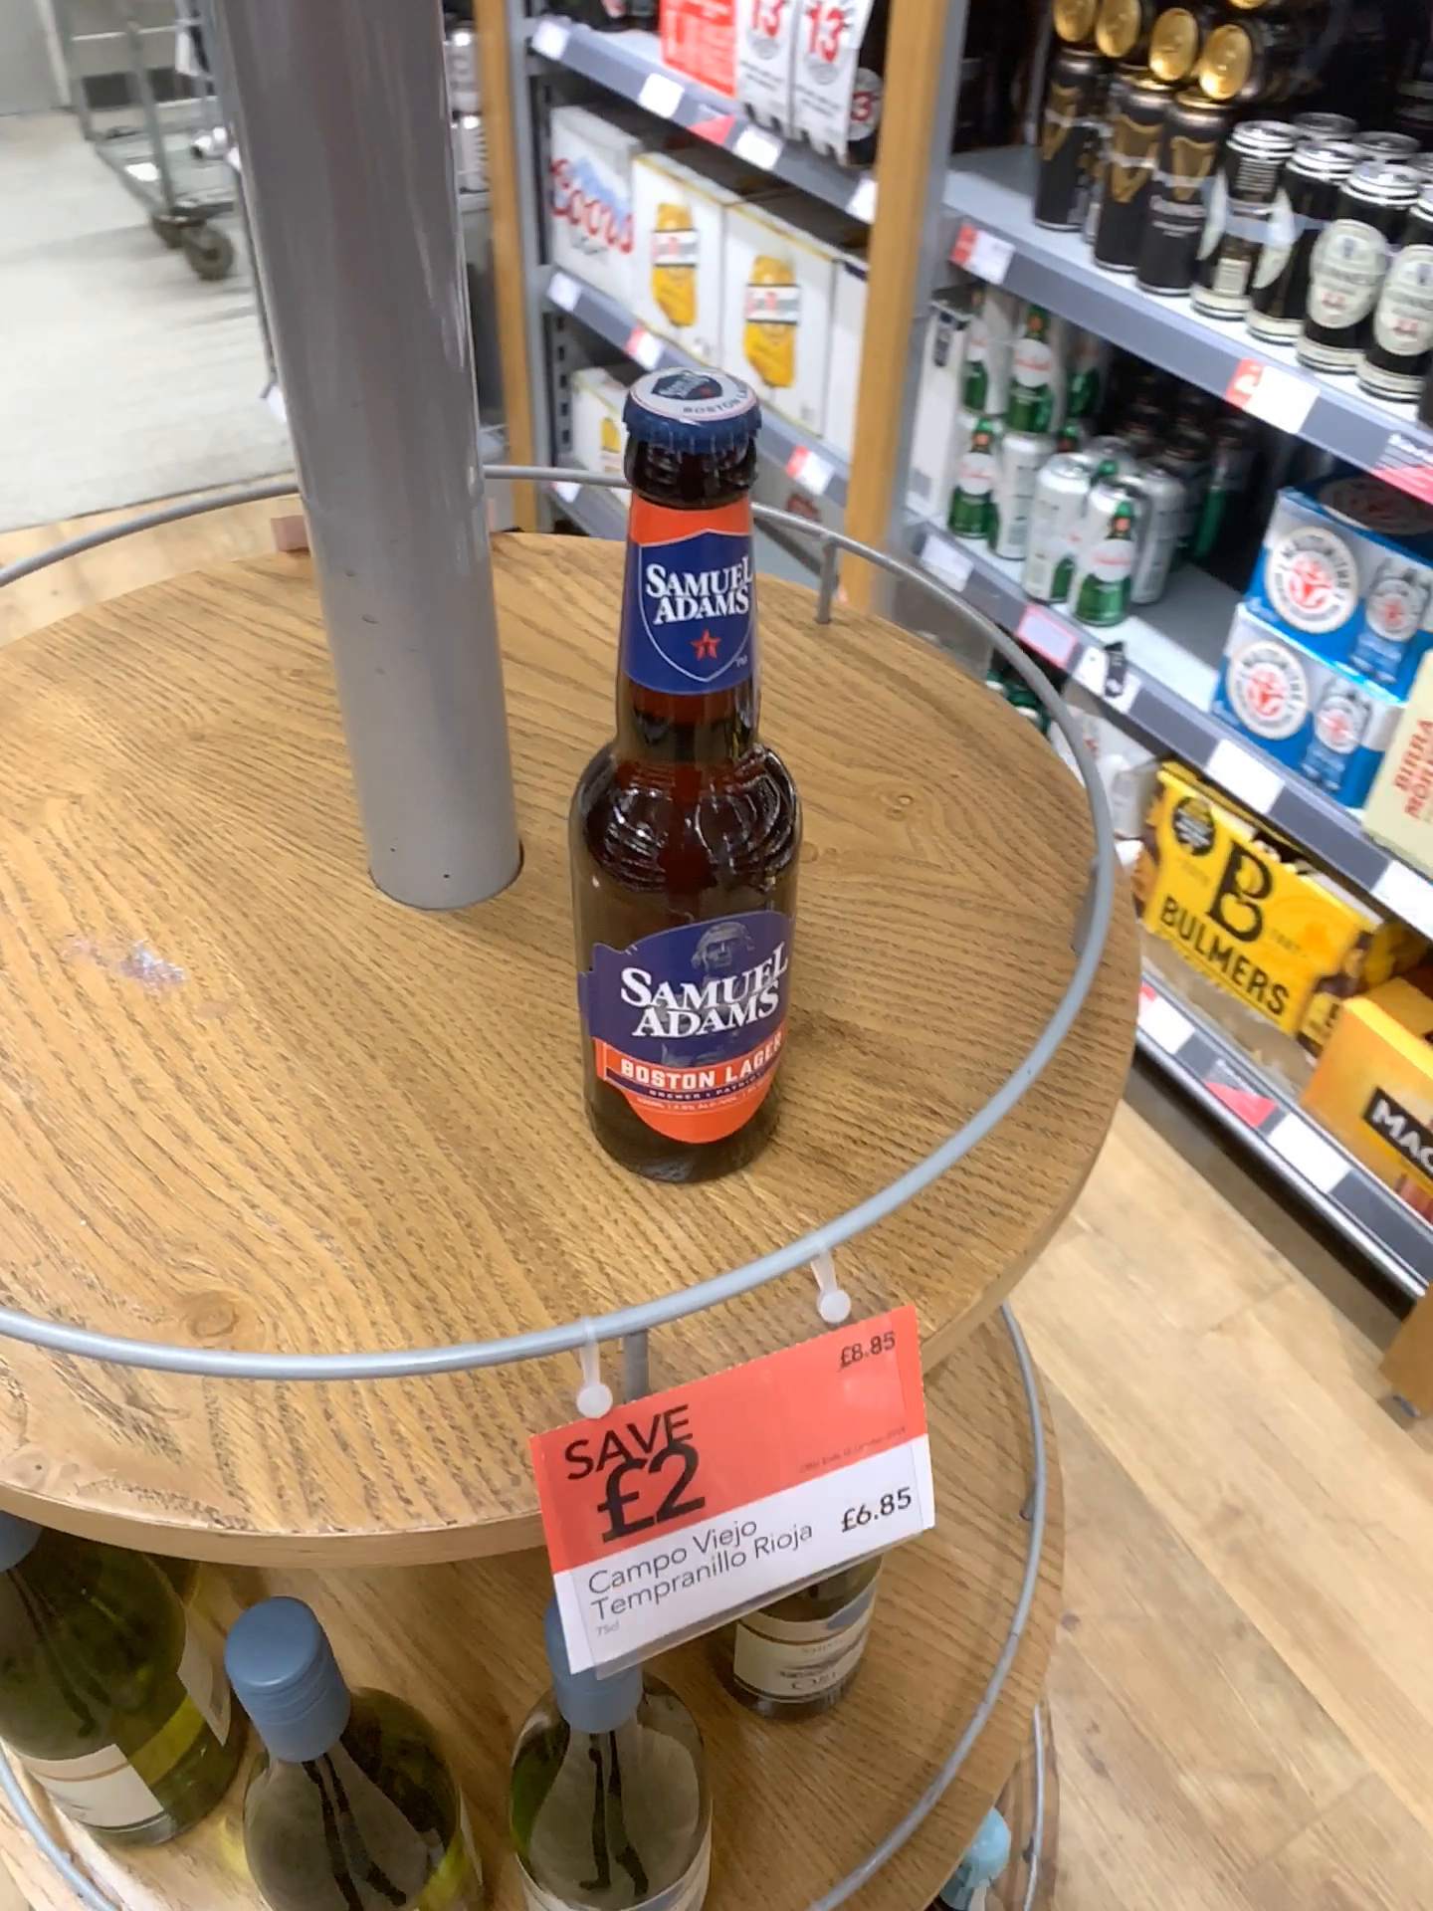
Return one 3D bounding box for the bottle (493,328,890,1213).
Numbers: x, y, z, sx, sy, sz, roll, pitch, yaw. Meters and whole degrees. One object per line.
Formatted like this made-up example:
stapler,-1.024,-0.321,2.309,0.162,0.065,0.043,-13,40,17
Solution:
bottle,-0.009,-0.033,0.361,0.062,0.211,0.061,1,43,-1
